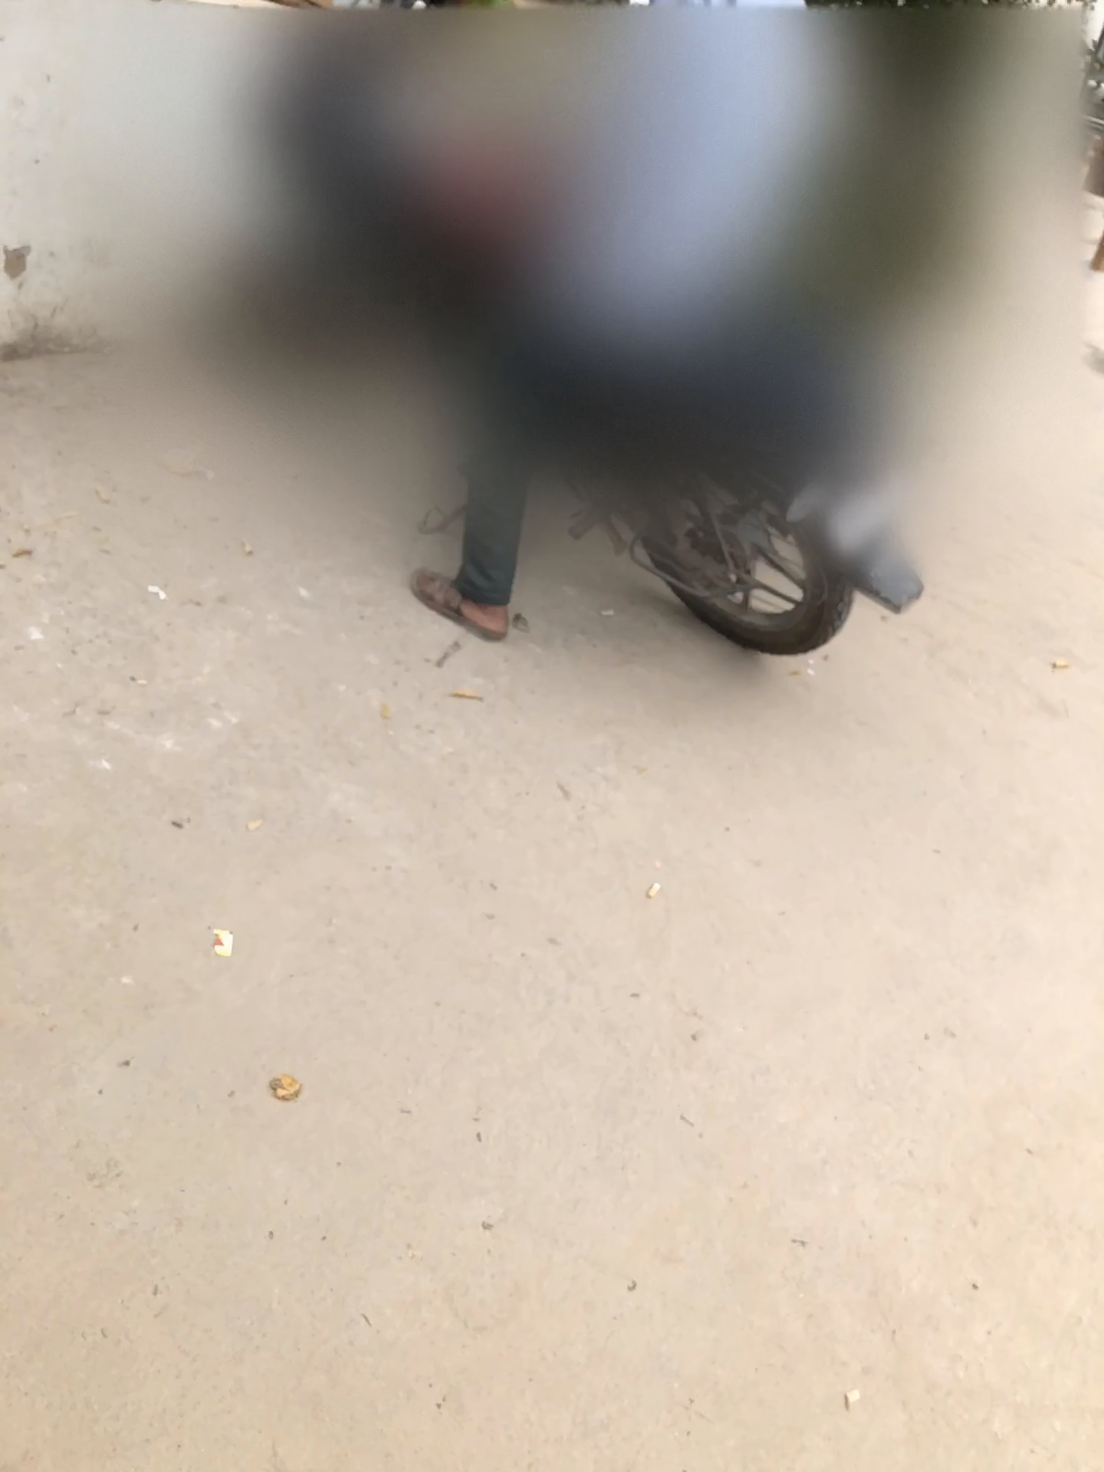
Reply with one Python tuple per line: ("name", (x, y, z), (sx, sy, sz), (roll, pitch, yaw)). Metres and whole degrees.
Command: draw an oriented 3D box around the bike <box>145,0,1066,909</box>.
("bike", (-0.026, -0.763, 2.463), (1.498, 1.332, 0.791), (32, 37, 23))
